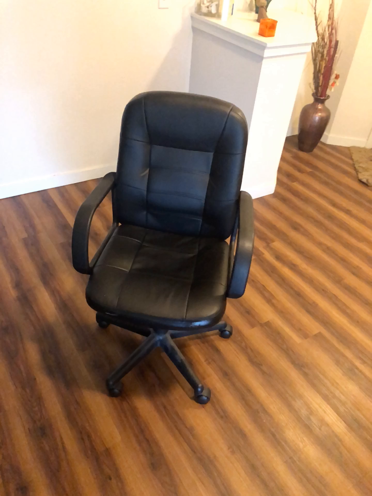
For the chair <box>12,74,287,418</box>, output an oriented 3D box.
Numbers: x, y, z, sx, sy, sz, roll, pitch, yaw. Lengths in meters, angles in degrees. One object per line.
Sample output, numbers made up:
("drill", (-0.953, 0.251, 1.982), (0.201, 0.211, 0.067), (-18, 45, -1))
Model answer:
("chair", (-0.087, 0.007, 1.542), (0.662, 1.012, 0.671), (9, 39, 3))
